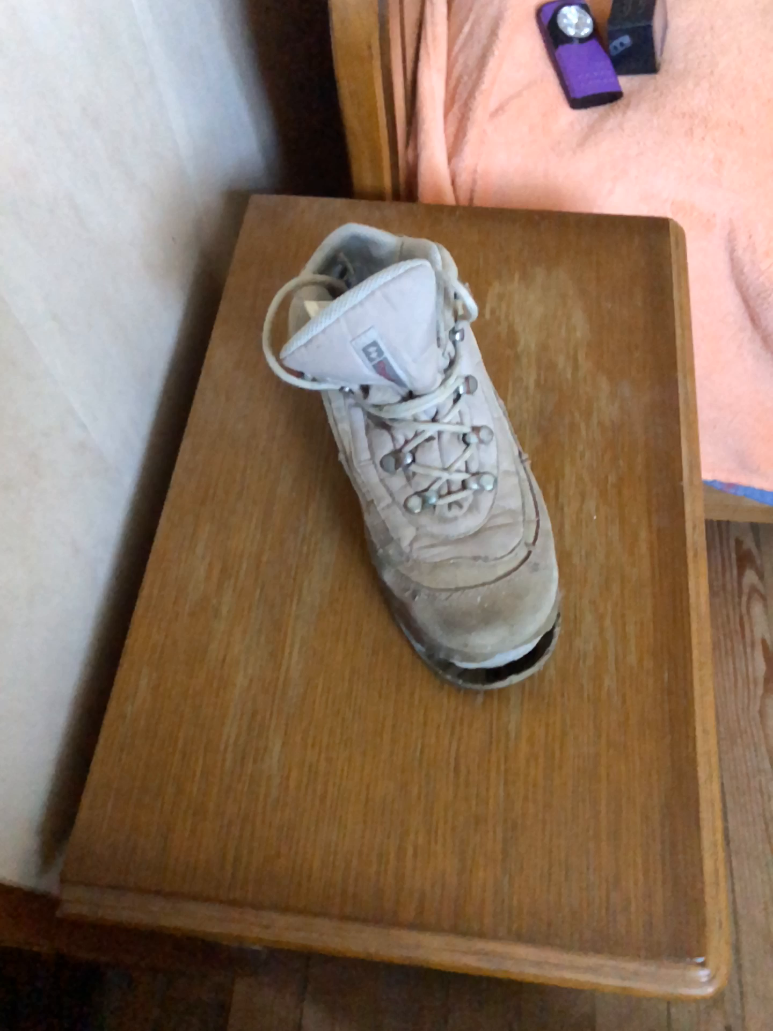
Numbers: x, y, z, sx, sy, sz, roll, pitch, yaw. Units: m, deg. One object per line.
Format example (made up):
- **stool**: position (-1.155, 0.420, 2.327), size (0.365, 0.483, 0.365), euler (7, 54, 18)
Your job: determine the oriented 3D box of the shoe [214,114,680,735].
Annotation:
- **shoe**: position (0.016, -0.056, 0.470), size (0.130, 0.139, 0.291), euler (-18, 61, -6)
